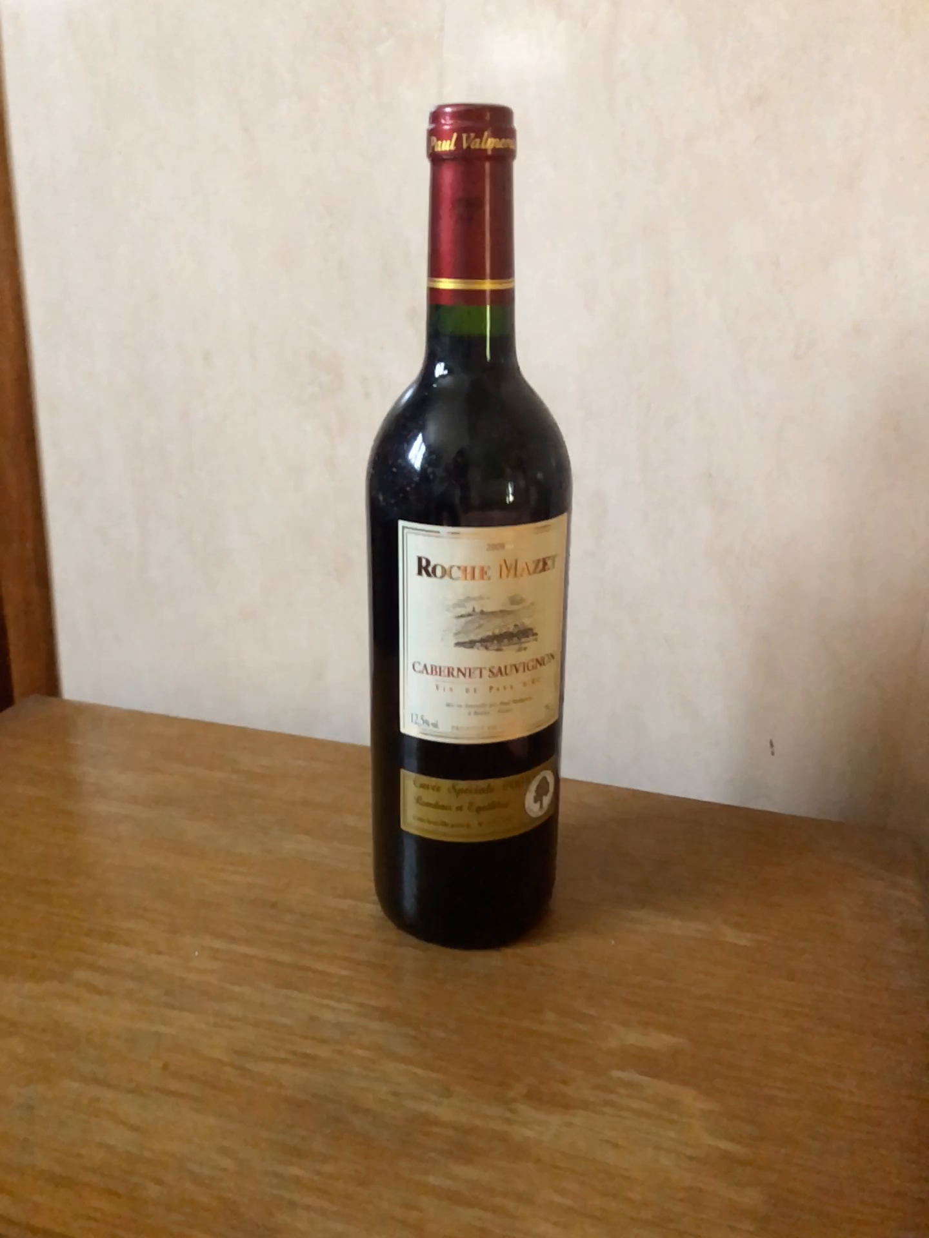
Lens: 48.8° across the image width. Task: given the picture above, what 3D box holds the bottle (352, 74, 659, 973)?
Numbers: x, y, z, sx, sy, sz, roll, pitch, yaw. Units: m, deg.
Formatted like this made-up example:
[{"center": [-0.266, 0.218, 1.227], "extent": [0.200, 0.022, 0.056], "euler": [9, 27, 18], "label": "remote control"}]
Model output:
[{"center": [0.004, -0.025, 0.378], "extent": [0.080, 0.299, 0.080], "euler": [2, 19, -1], "label": "bottle"}]
